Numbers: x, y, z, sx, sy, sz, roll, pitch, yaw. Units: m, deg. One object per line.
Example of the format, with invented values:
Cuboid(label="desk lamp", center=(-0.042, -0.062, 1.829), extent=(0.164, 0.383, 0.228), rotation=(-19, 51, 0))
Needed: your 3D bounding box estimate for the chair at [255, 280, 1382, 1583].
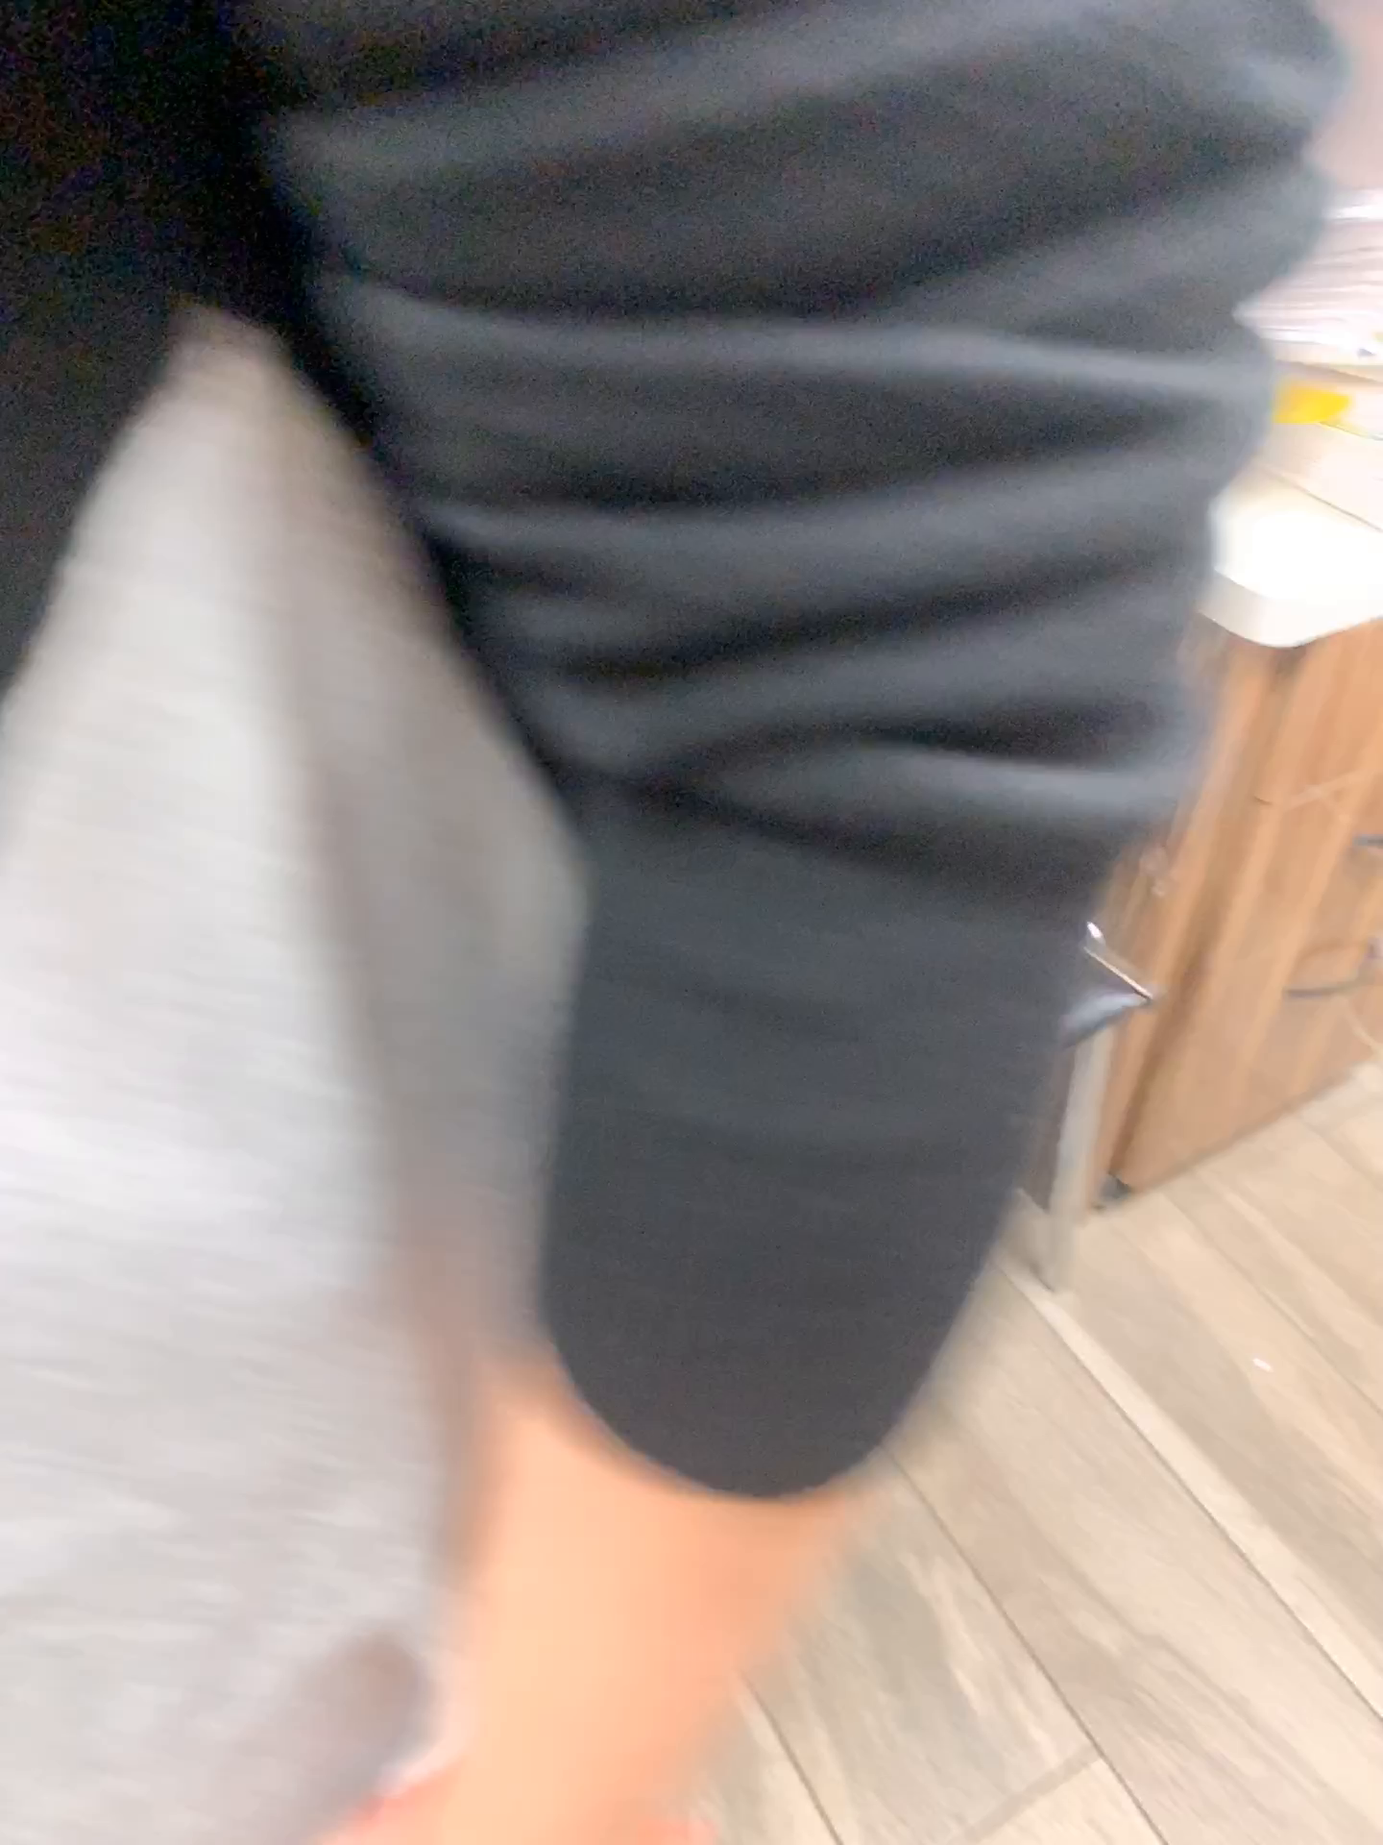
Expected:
Cuboid(label="chair", center=(0.065, 0.006, 1.192), extent=(0.555, 0.813, 0.530), rotation=(-23, 49, -26))
